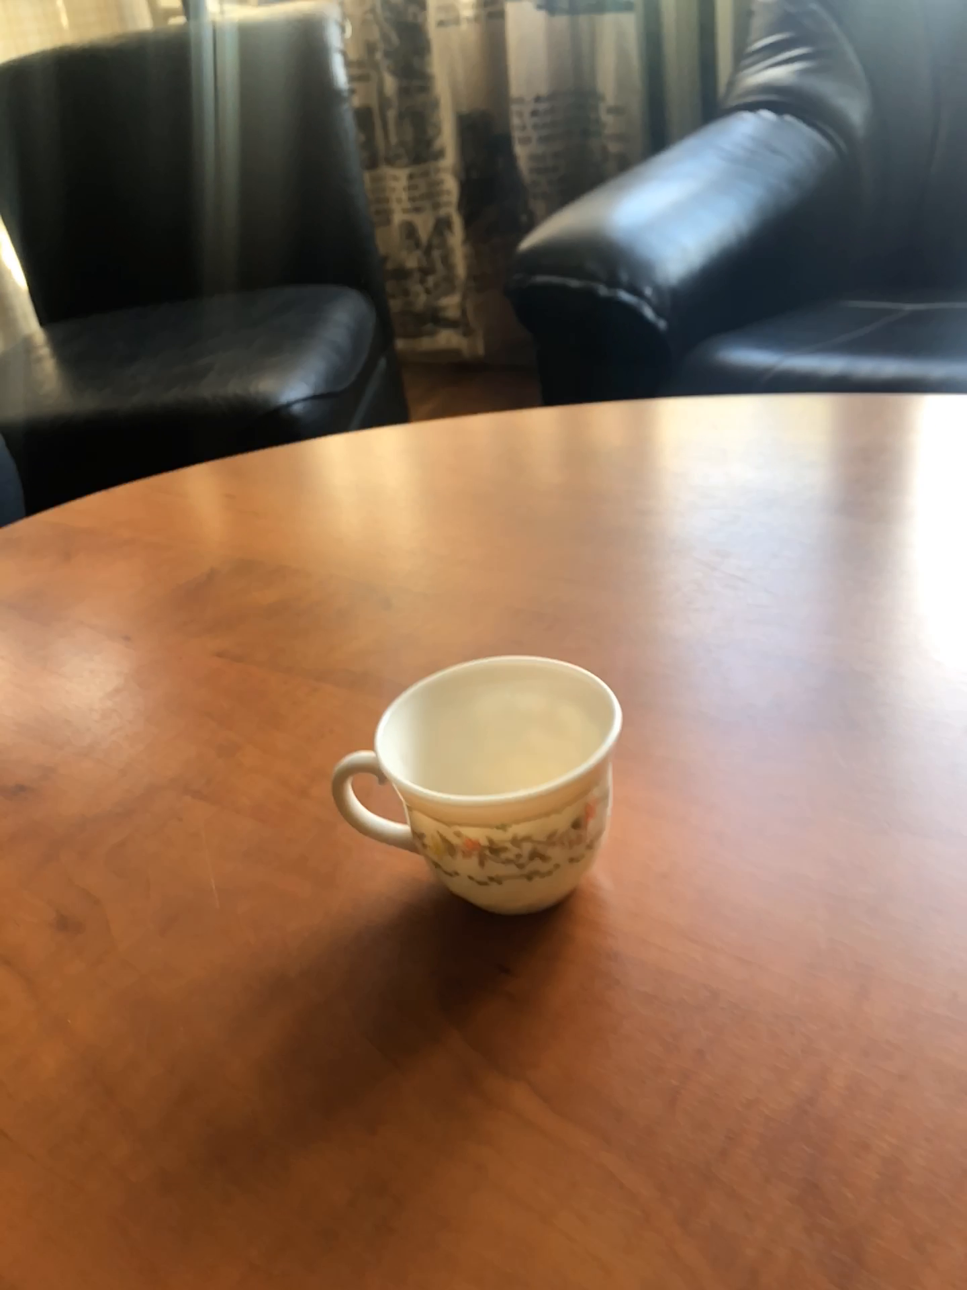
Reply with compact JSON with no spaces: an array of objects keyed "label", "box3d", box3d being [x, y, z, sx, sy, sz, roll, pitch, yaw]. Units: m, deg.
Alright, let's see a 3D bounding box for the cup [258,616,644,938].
[{"label":"cup","box3d":[-0.004,0.032,0.276,0.083,0.048,0.063,-5,30,8]}]
